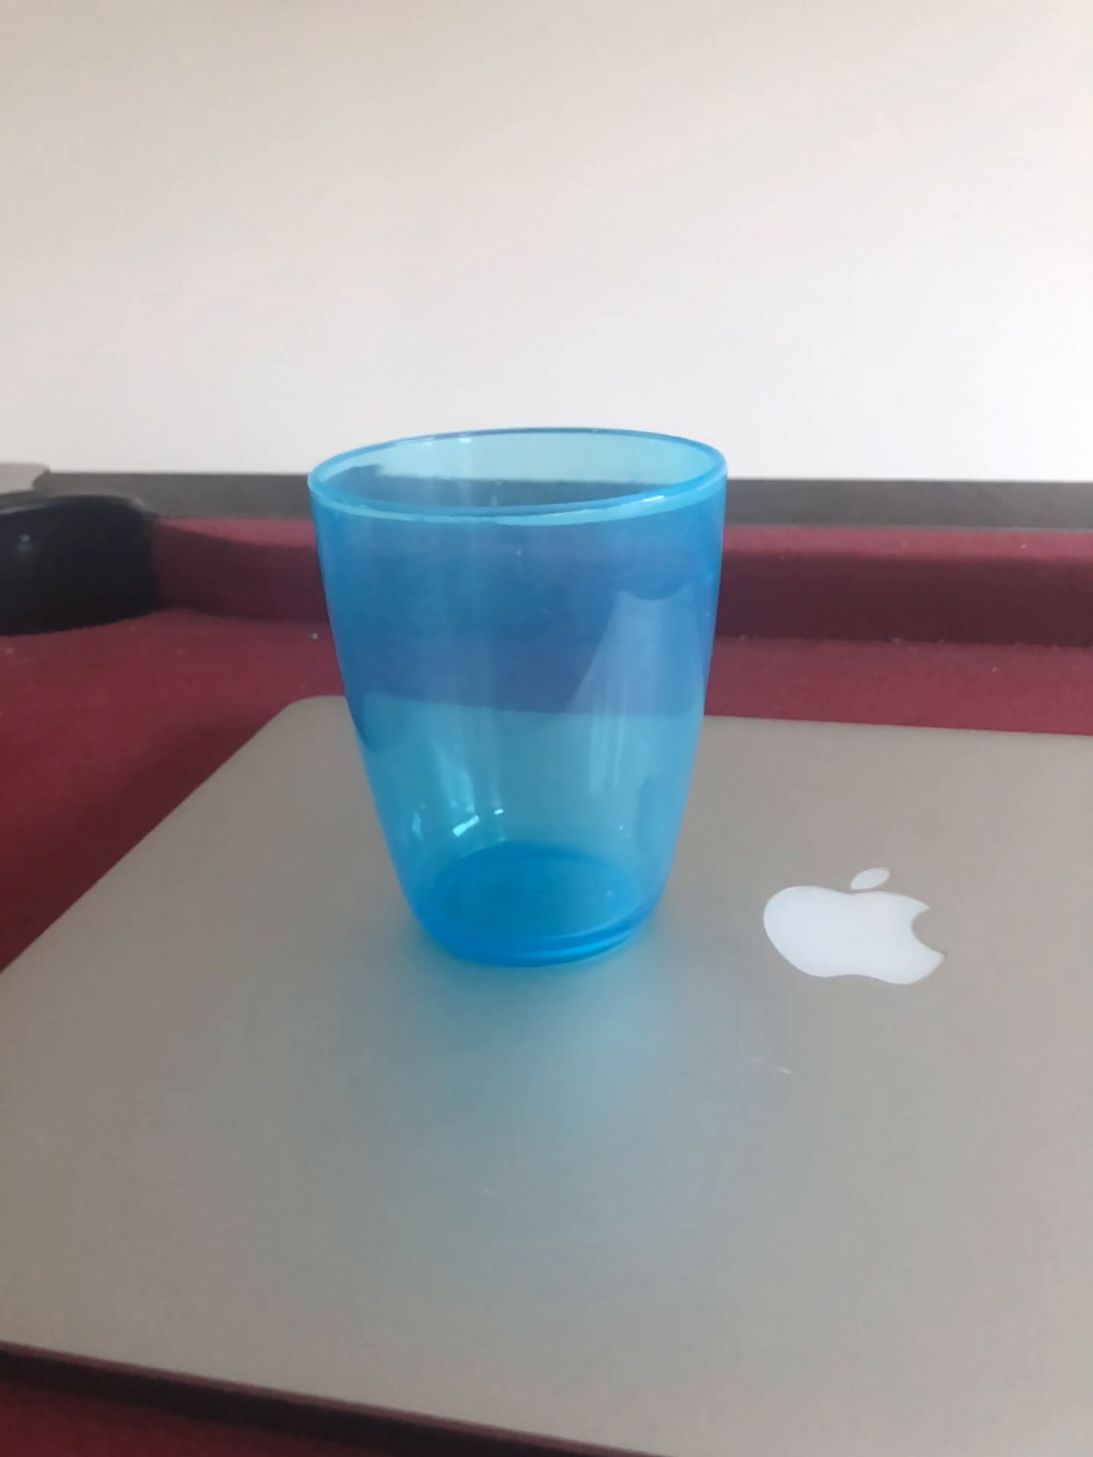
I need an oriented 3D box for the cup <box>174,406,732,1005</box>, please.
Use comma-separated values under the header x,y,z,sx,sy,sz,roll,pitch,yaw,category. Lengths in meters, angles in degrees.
x,y,z,sx,sy,sz,roll,pitch,yaw,category
-0.010,-0.011,0.258,0.090,0.100,0.080,3,23,13,cup
